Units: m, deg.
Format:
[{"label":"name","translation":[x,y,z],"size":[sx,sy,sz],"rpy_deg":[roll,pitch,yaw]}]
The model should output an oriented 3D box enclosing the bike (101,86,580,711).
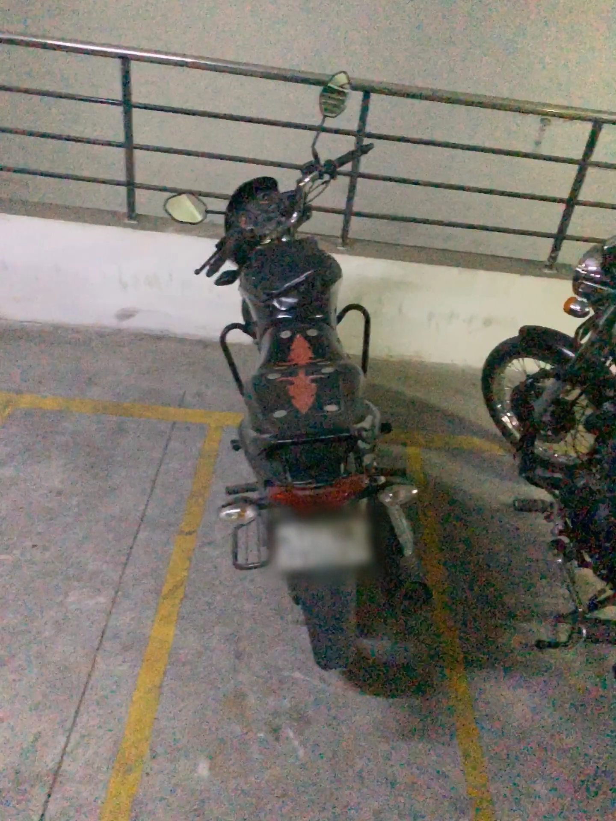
[{"label":"bike","translation":[-0.173,-0.210,1.919],"size":[0.755,1.067,1.684],"rpy_deg":[-1,35,-14]}]
